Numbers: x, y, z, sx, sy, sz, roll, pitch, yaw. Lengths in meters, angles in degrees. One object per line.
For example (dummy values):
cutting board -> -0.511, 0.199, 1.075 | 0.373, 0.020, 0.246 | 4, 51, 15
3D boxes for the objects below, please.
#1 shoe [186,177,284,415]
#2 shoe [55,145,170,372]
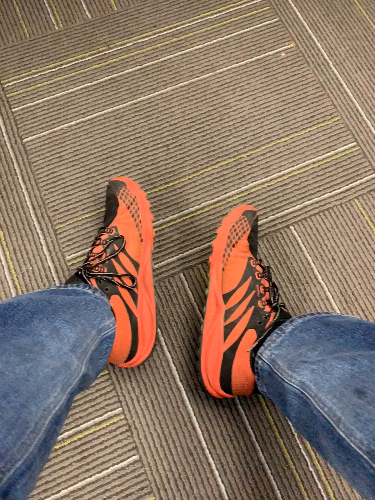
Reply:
shoe -> 0.084, 0.067, 0.586 | 0.108, 0.138, 0.318 | 0, 73, 17
shoe -> -0.118, 0.020, 0.588 | 0.108, 0.128, 0.308 | 11, 68, -42
